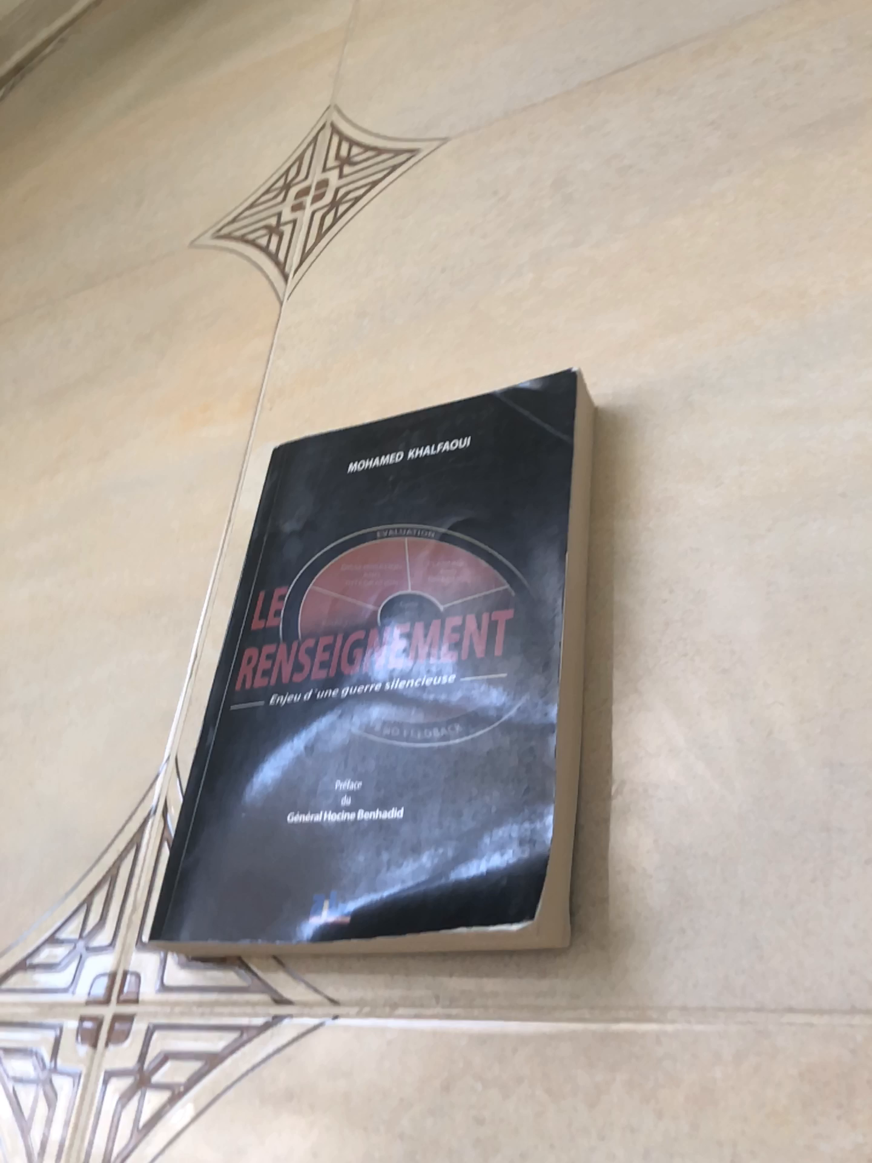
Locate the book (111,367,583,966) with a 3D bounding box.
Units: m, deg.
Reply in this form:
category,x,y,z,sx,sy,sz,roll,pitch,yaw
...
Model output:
category,x,y,z,sx,sy,sz,roll,pitch,yaw
book,-0.024,0.028,0.346,0.146,0.037,0.201,-10,57,23
